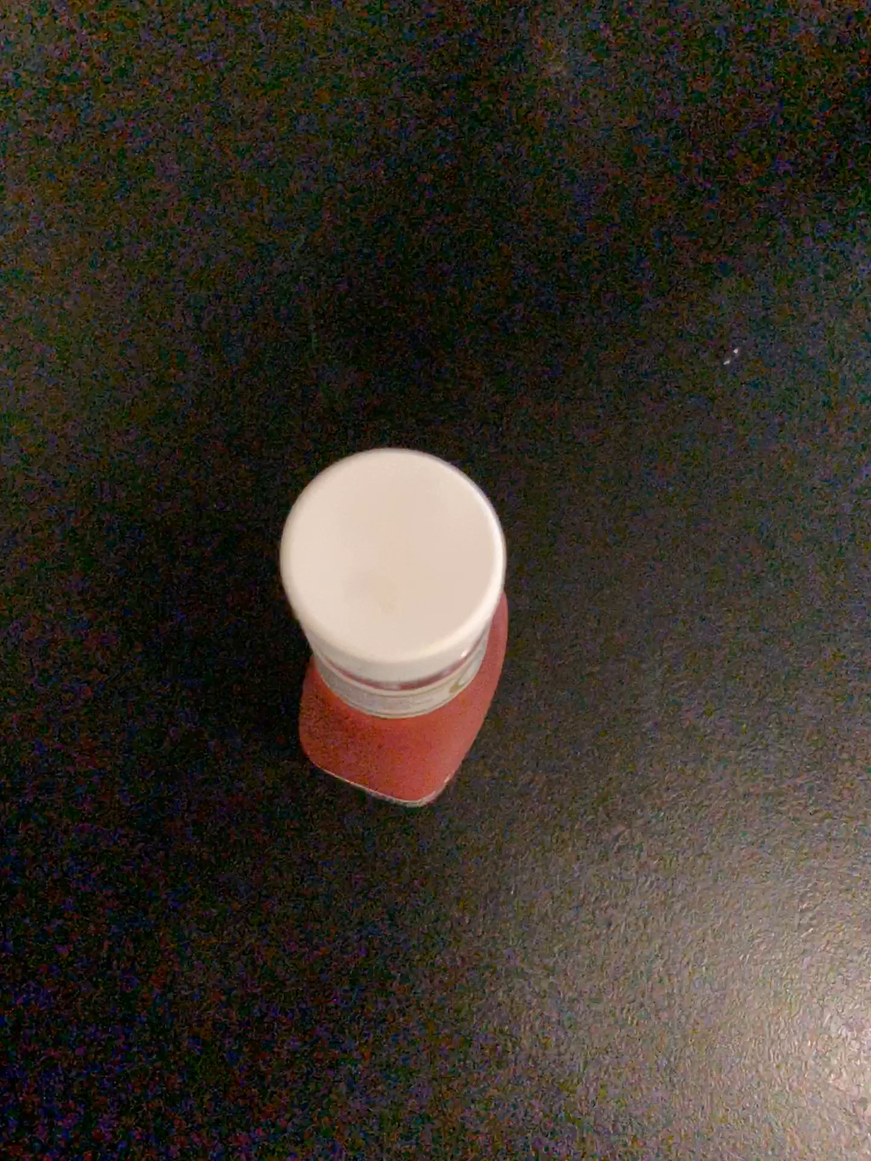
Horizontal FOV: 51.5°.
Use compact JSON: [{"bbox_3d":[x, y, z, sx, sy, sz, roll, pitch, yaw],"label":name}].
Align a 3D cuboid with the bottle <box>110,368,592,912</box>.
[{"bbox_3d":[-0.013,0.030,0.227,0.050,0.190,0.070,20,76,4],"label":"bottle"}]
